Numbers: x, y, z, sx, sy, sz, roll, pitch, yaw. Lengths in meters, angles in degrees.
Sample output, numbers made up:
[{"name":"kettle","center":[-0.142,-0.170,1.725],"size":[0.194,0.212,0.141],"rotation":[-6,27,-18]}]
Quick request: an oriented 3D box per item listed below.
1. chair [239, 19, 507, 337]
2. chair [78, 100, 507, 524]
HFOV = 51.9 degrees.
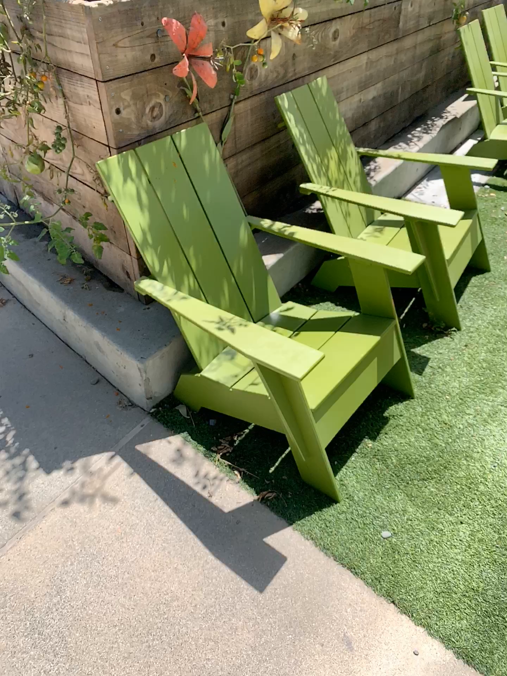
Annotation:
[{"name":"chair","center":[0.608,-0.672,2.282],"size":[0.893,0.984,0.682],"rotation":[12,41,40]},{"name":"chair","center":[0.146,-0.167,1.557],"size":[0.903,0.835,0.682],"rotation":[20,43,33]}]
